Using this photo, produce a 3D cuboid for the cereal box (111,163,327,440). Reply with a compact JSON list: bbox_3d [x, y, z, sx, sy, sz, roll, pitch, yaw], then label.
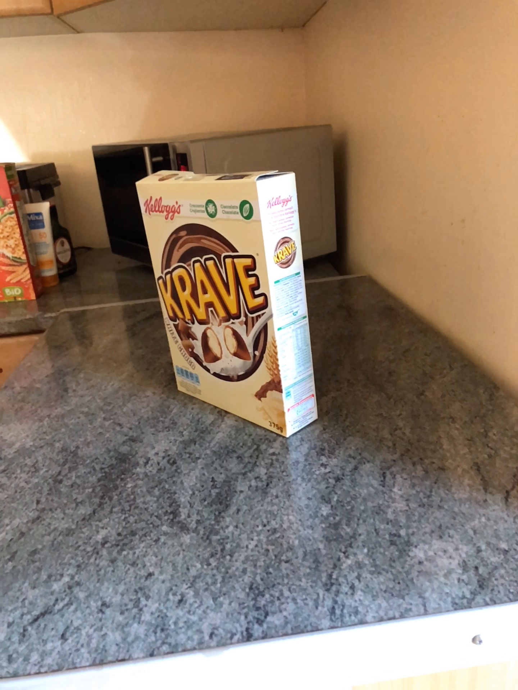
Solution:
[{"bbox_3d":[-0.042,-0.056,0.596,0.210,0.249,0.070,17,33,43],"label":"cereal box"}]
